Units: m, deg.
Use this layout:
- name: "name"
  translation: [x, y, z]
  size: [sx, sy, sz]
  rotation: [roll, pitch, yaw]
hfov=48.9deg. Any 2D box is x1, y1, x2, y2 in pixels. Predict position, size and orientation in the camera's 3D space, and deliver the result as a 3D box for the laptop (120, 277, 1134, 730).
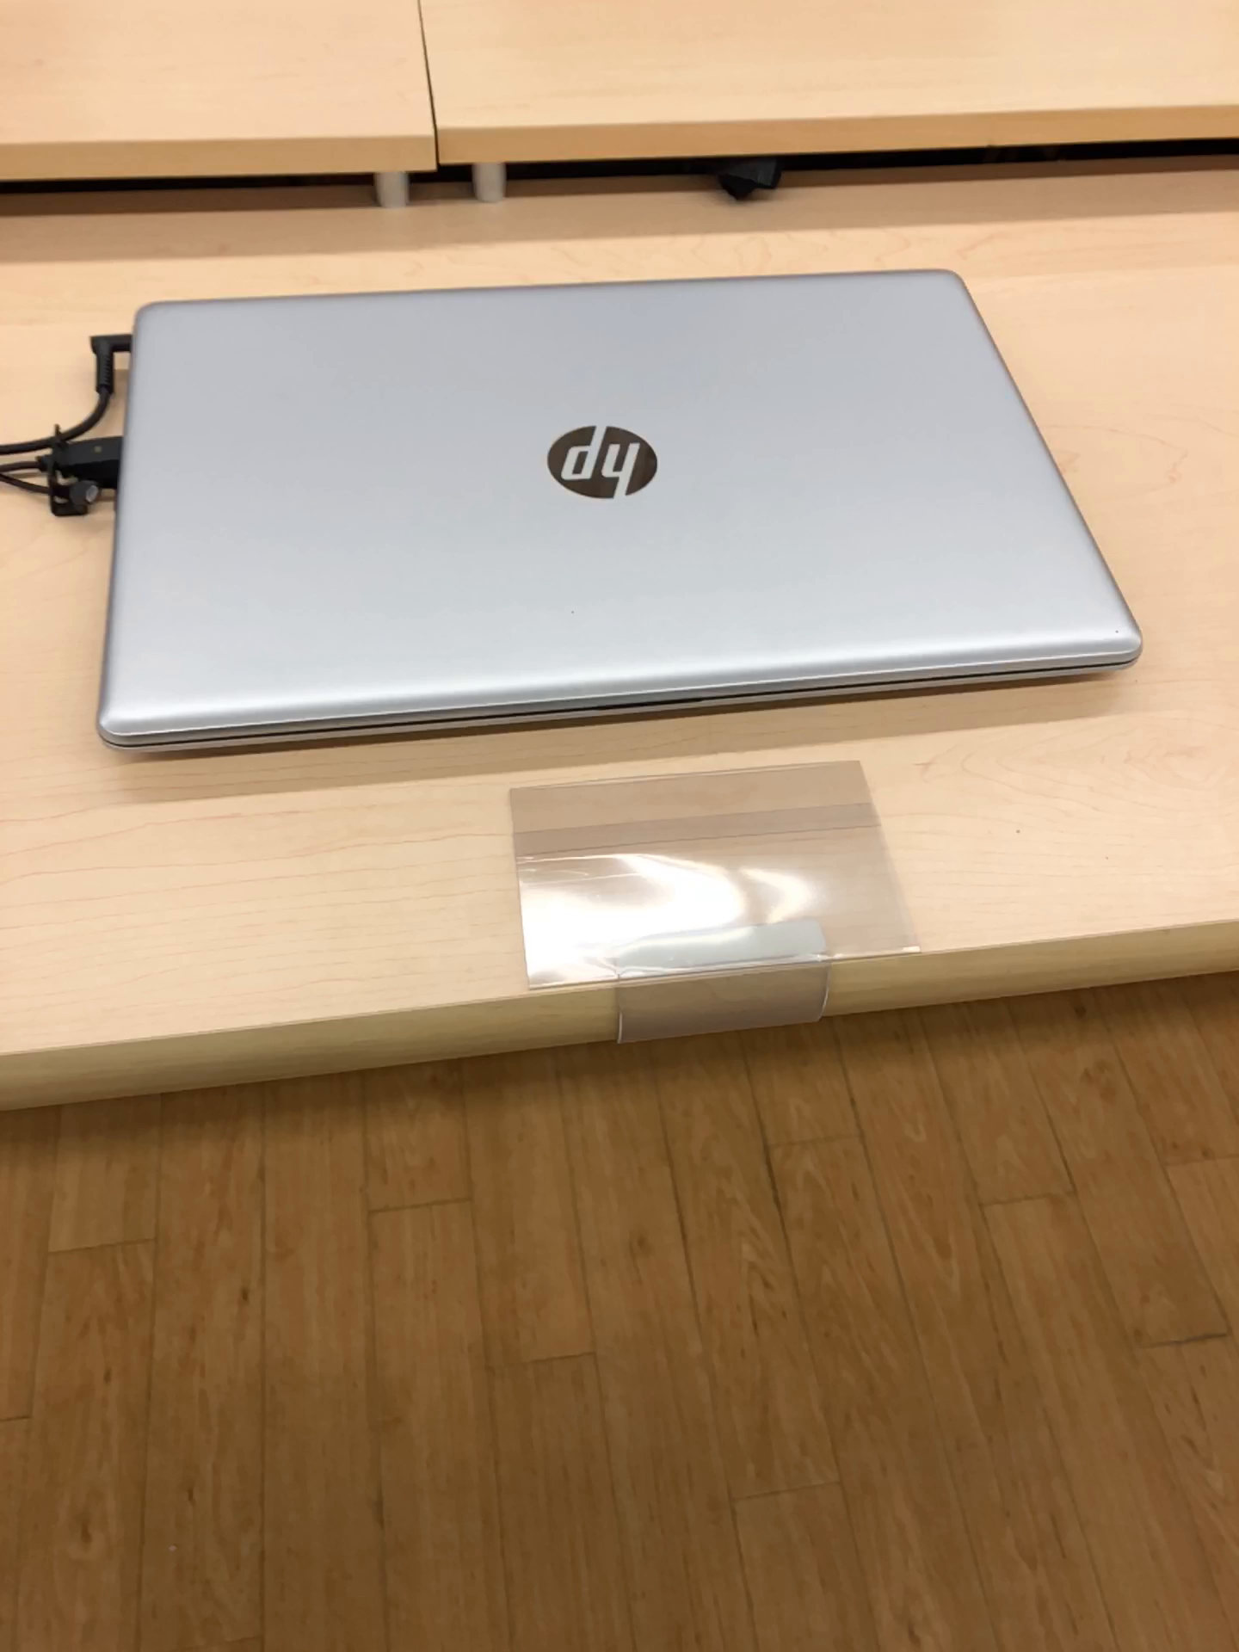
- name: "laptop"
  translation: [-0.008, -0.158, 0.600]
  size: [0.397, 0.001, 0.258]
  rotation: [-5, 55, -7]
